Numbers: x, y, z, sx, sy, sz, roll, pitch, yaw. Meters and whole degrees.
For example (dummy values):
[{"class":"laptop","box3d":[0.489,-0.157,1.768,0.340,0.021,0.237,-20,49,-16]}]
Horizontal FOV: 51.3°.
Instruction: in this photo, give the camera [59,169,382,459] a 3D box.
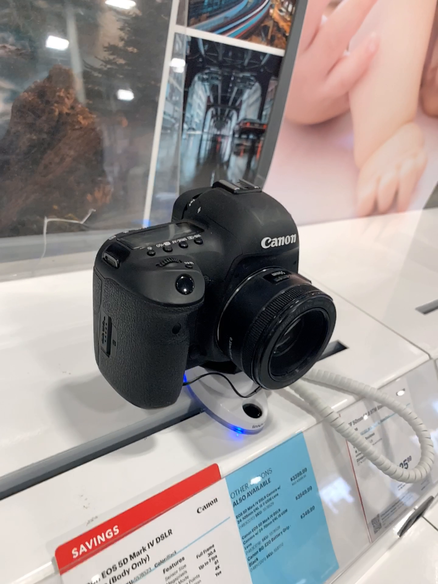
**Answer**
[{"class":"camera","box3d":[-0.005,-0.003,0.277,0.140,0.106,0.112,-13,38,-38]}]
